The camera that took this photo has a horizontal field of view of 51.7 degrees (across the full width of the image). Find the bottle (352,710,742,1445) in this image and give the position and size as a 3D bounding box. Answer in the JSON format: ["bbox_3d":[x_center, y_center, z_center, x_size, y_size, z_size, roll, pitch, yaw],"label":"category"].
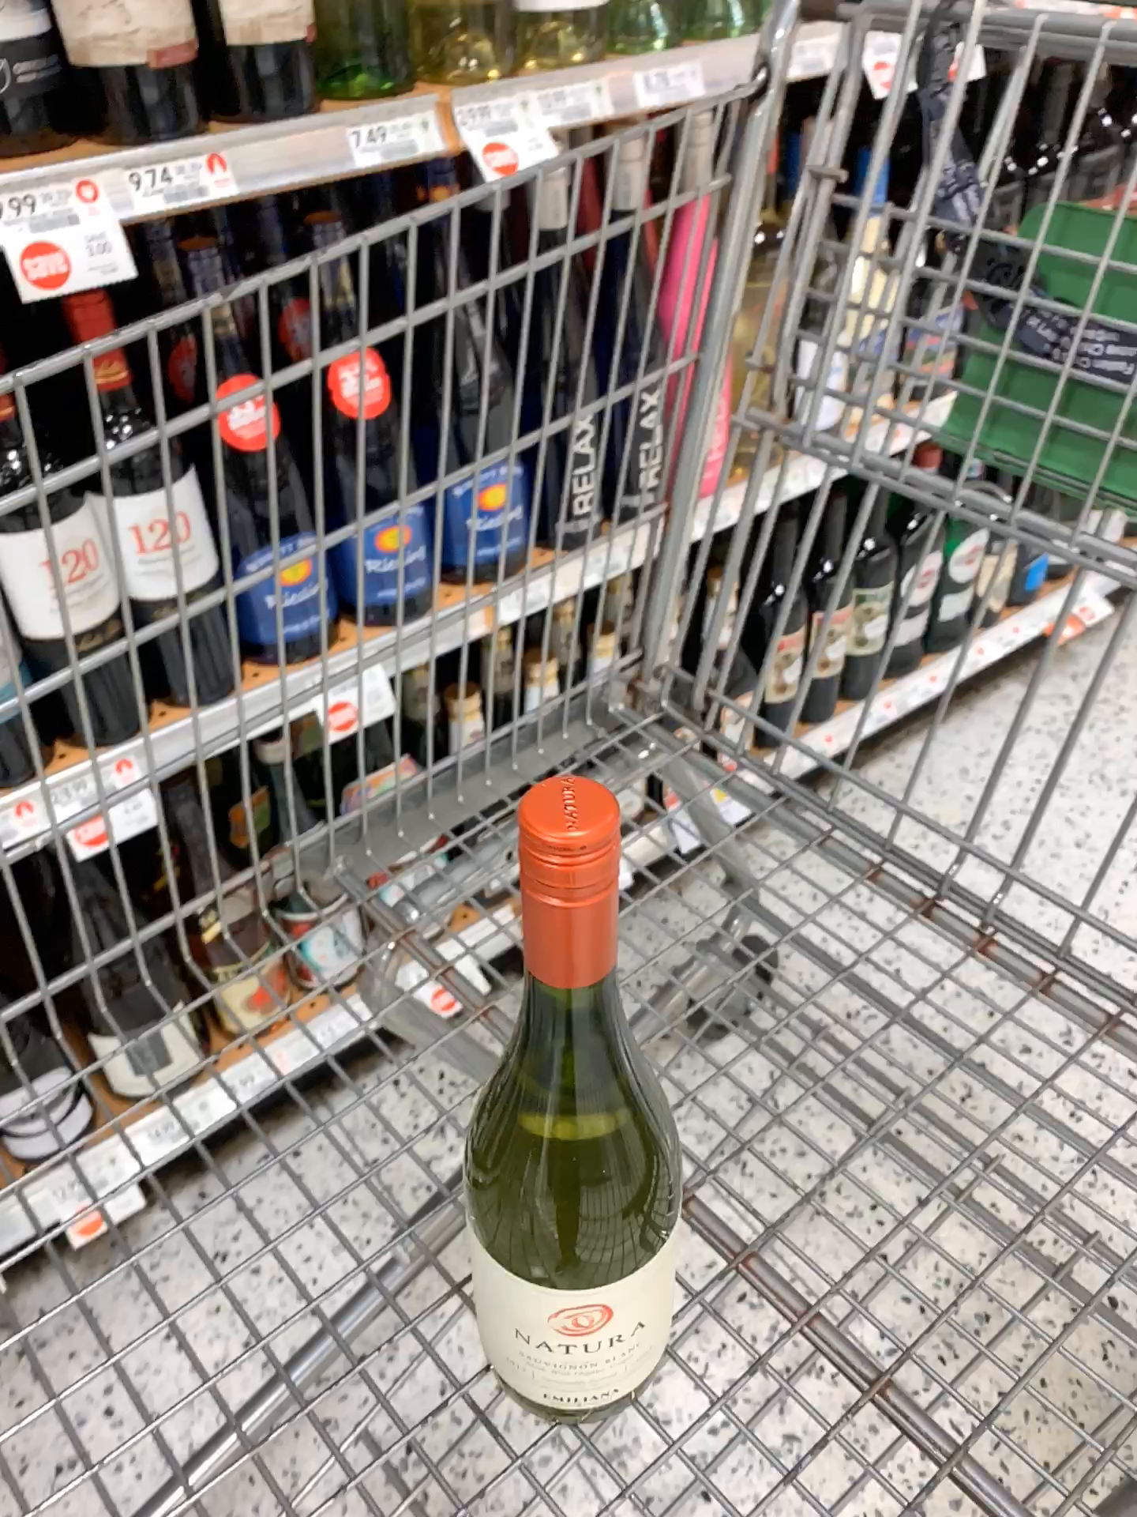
[{"bbox_3d":[0.000,0.127,0.396,0.090,0.297,0.081,0,40,3],"label":"bottle"}]
